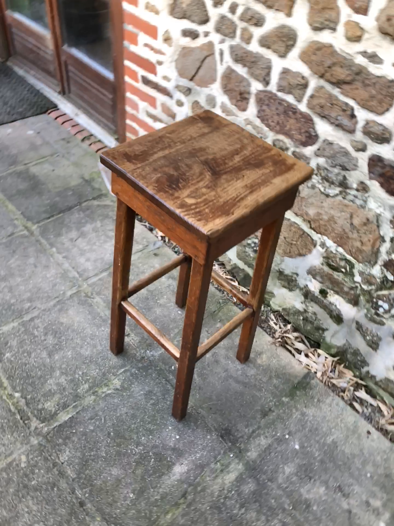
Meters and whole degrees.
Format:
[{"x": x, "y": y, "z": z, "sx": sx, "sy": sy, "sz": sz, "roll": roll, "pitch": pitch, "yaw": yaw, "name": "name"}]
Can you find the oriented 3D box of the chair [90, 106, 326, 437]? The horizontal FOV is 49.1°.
[{"x": -0.011, "y": 0.069, "z": 1.161, "sx": 0.350, "sy": 0.795, "sz": 0.332, "roll": 38, "pitch": 53, "yaw": 26, "name": "chair"}]
